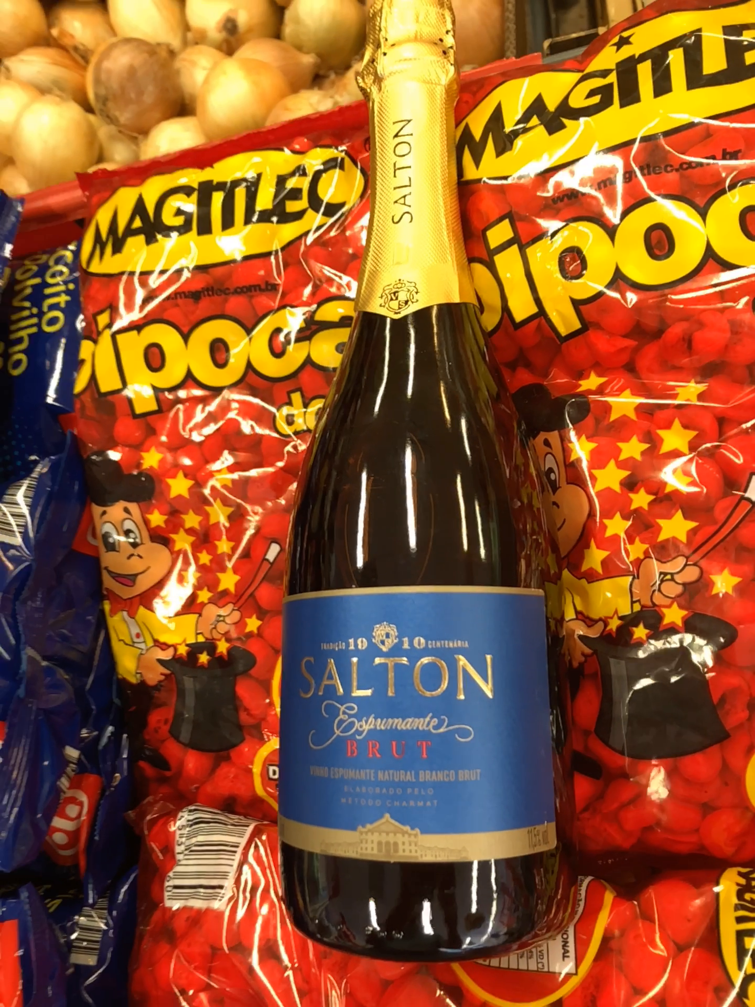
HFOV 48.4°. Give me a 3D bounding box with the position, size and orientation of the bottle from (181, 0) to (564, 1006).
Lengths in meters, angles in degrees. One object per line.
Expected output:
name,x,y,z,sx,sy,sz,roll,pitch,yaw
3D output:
bottle,0.000,-0.031,0.265,0.090,0.080,0.310,-4,81,18
